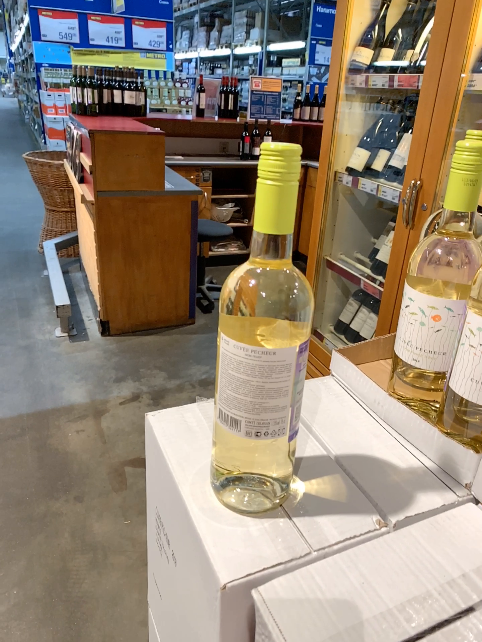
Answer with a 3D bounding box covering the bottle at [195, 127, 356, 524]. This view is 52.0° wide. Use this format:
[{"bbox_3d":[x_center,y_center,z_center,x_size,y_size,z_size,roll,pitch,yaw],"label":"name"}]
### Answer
[{"bbox_3d":[0.018,0.010,0.393,0.090,0.298,0.090,3,24,-1],"label":"bottle"}]
